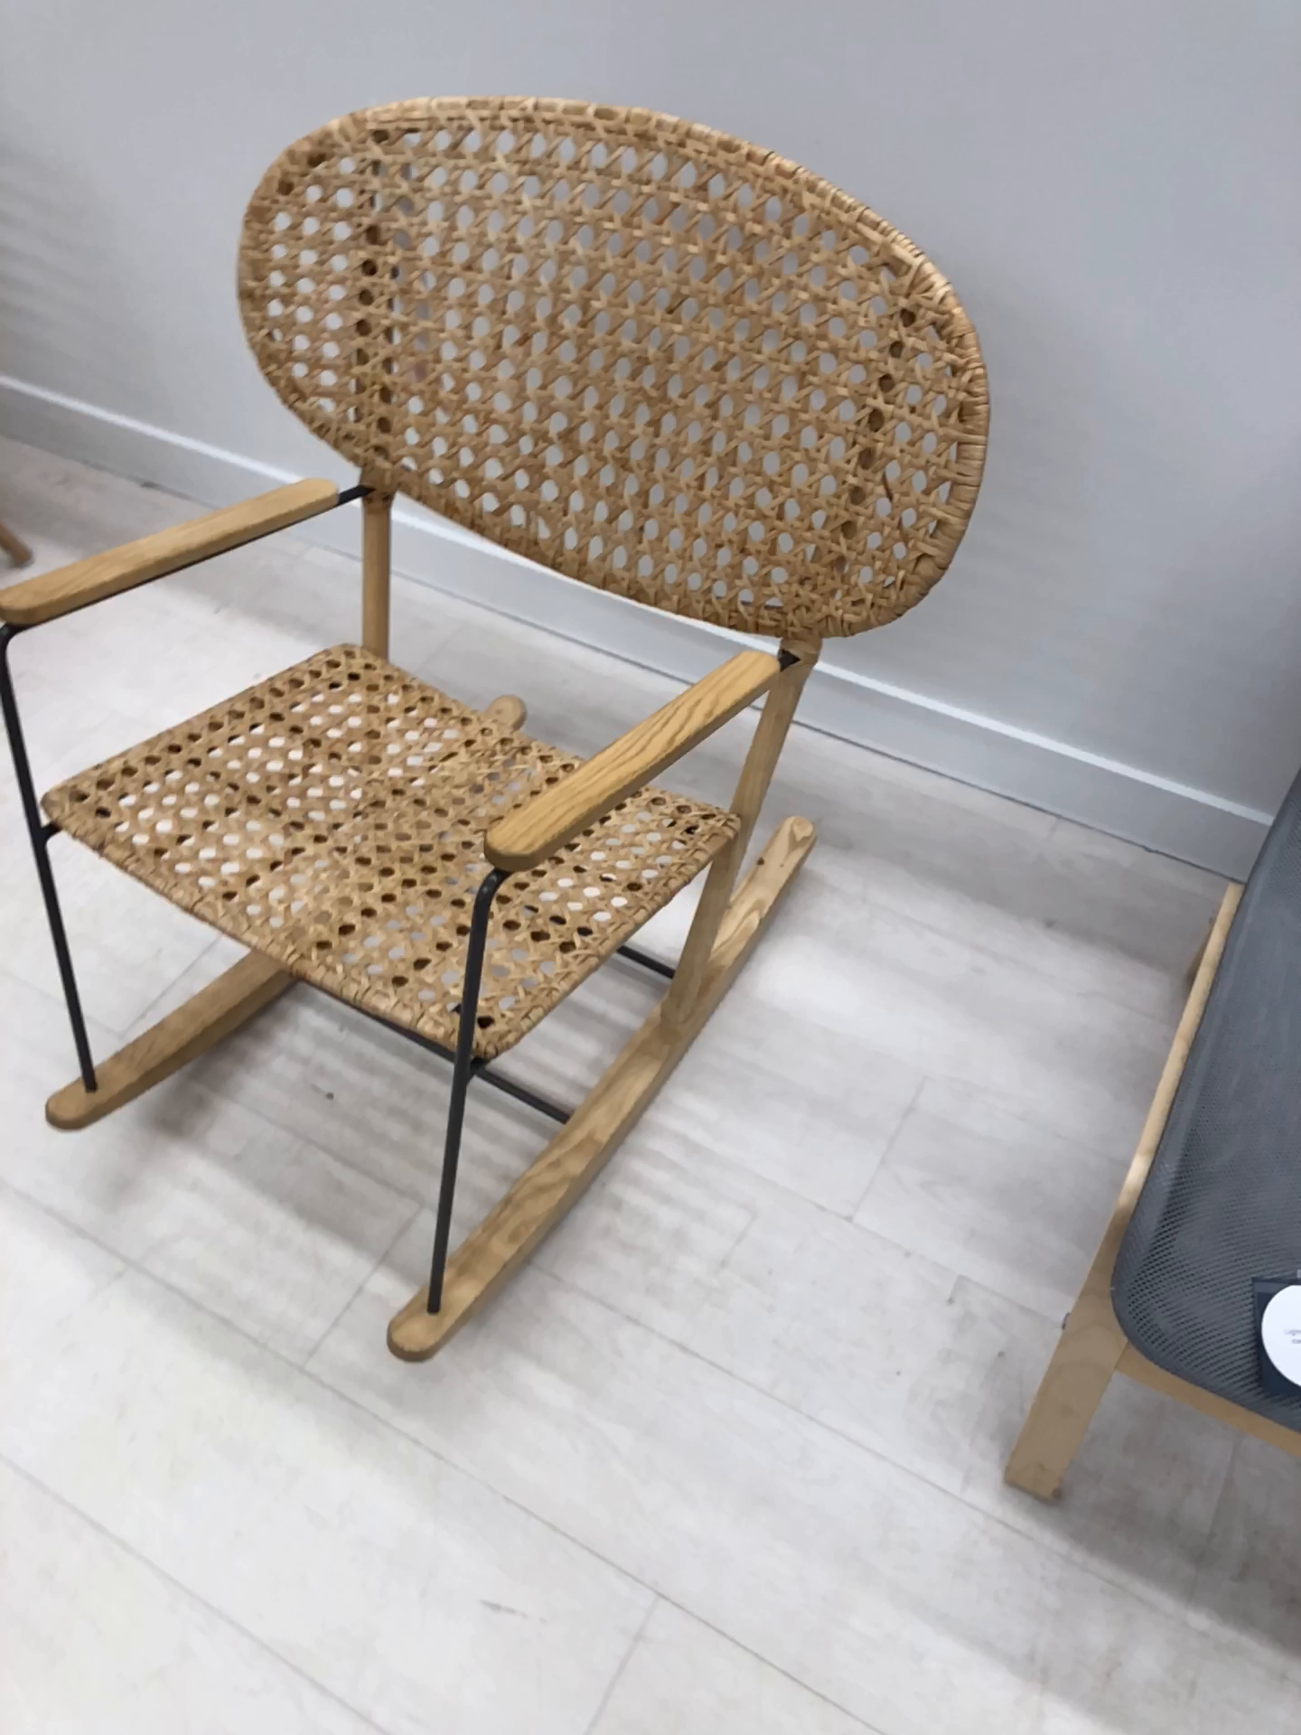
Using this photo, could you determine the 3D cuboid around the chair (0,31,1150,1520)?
[{"bbox_3d":[-0.185,-0.133,1.334,0.831,0.787,0.852,26,54,22],"label":"chair"}]
